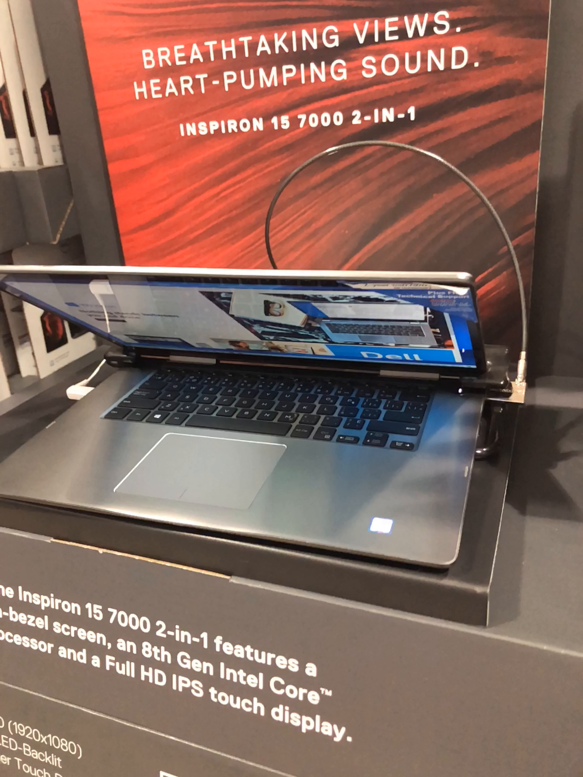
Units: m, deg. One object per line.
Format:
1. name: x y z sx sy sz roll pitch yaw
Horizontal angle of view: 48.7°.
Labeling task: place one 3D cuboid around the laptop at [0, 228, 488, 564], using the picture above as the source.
1. laptop: -0.044 -0.025 0.495 0.355 0.137 0.212 5 27 21
